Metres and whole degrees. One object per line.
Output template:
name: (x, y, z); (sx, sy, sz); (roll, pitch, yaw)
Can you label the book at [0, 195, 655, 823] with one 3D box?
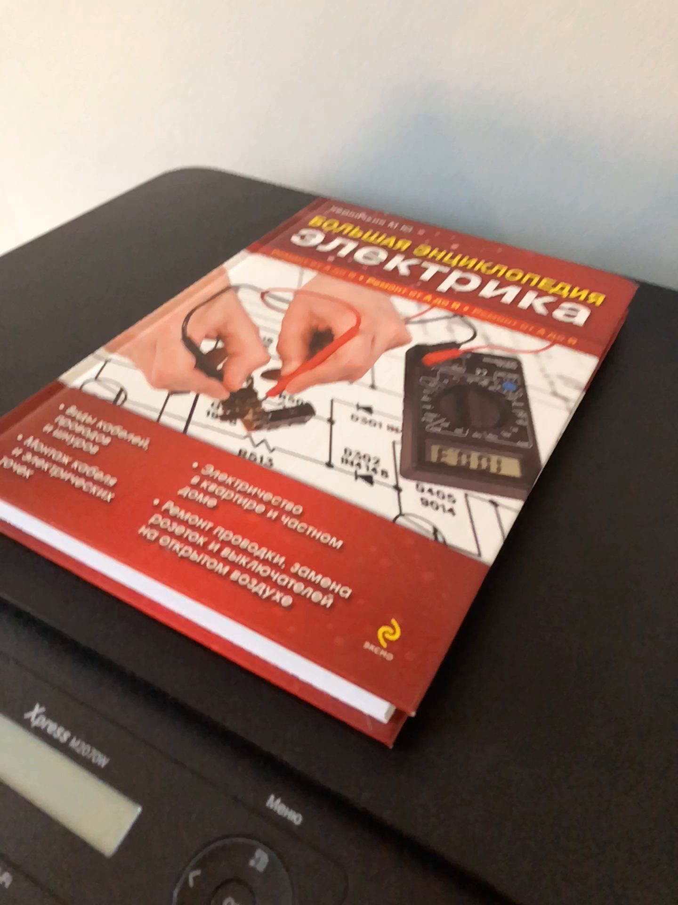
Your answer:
book: (0.003, -0.018, 0.290); (0.170, 0.040, 0.241); (22, 46, 21)
